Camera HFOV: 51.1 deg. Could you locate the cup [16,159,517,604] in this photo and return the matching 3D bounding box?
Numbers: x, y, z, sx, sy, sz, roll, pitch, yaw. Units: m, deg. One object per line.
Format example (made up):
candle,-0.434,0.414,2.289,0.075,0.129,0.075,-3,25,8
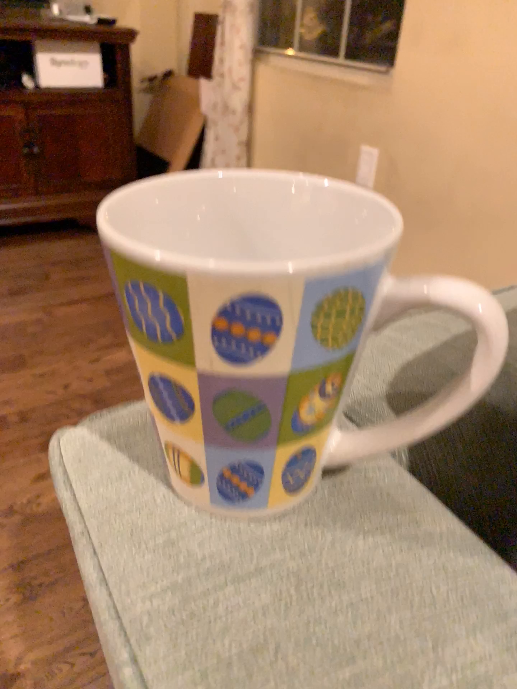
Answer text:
cup,0.013,0.000,0.176,0.123,0.087,0.096,9,31,11
